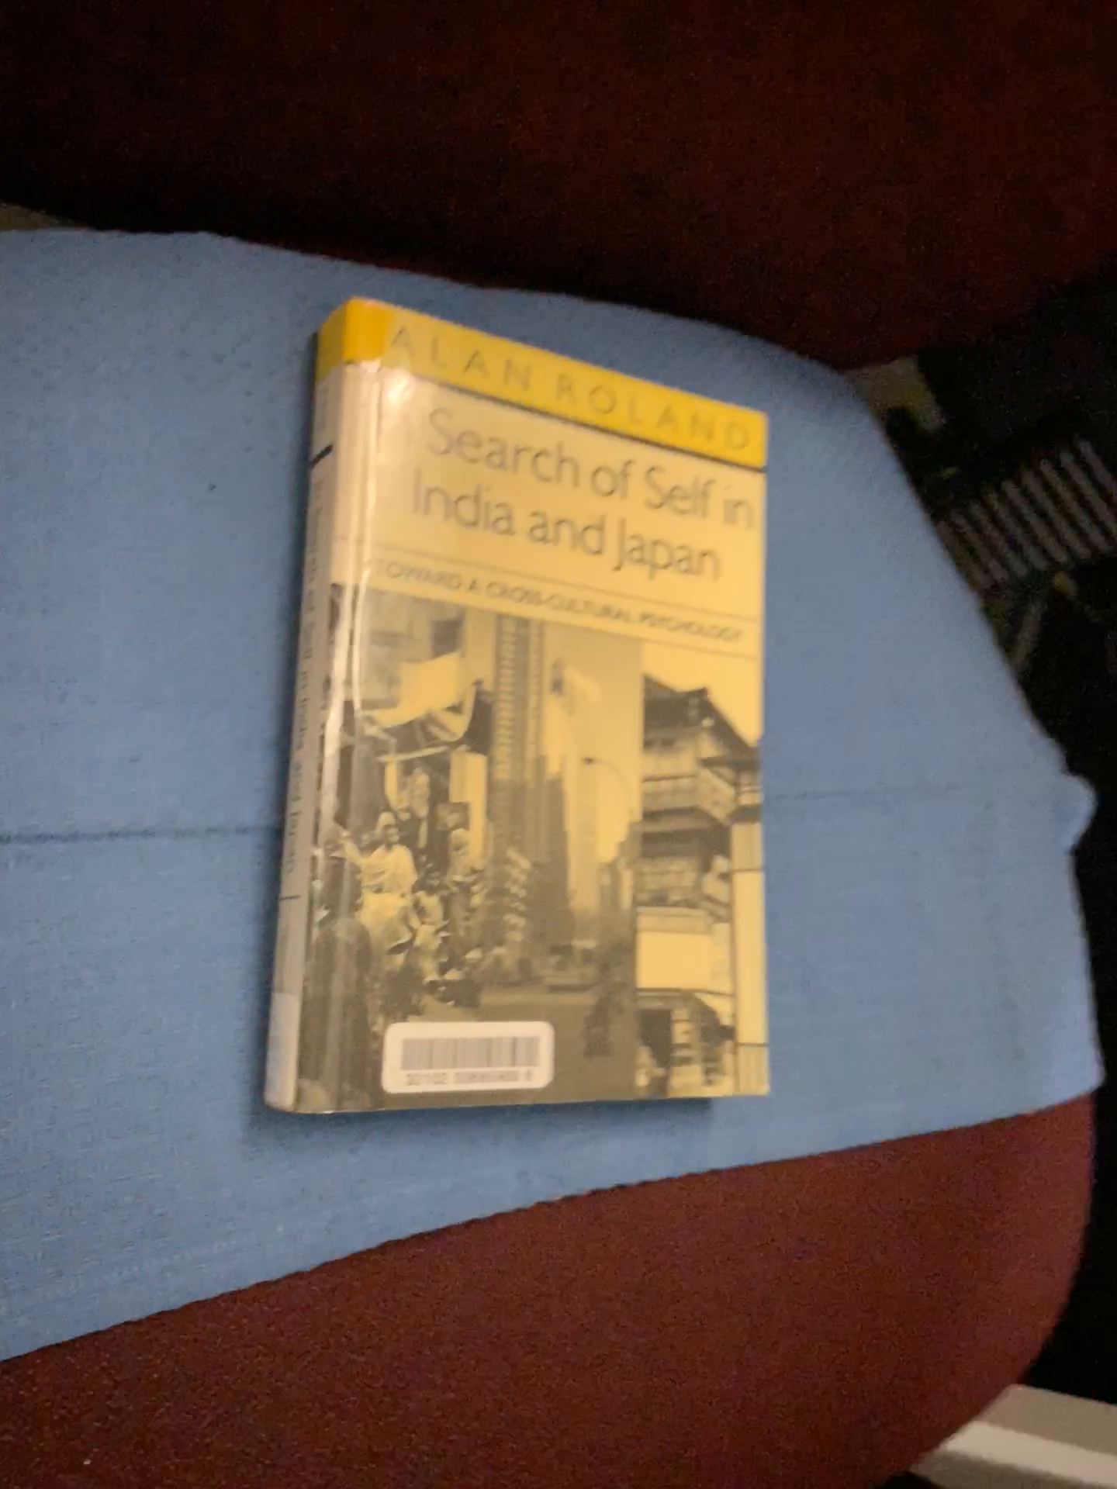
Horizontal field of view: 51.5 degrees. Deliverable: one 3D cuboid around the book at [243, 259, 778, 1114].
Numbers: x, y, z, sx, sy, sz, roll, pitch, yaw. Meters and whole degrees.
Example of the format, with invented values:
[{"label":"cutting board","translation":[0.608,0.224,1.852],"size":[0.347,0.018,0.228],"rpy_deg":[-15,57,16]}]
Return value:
[{"label":"book","translation":[-0.006,-0.013,0.355],"size":[0.155,0.032,0.232],"rpy_deg":[8,77,-28]}]
